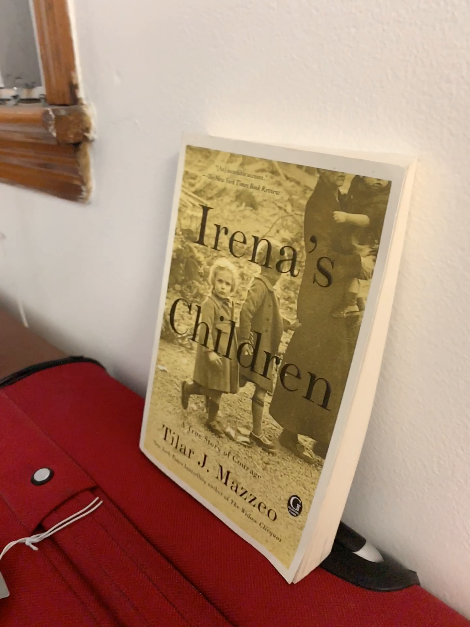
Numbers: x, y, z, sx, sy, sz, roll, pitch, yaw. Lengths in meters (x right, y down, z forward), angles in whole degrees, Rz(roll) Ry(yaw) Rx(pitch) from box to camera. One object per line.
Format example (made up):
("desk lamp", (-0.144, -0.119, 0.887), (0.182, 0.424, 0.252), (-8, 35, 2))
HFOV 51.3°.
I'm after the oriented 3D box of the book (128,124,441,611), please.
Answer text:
("book", (0.004, 0.016, 0.286), (0.030, 0.229, 0.171), (-8, 22, -43))
